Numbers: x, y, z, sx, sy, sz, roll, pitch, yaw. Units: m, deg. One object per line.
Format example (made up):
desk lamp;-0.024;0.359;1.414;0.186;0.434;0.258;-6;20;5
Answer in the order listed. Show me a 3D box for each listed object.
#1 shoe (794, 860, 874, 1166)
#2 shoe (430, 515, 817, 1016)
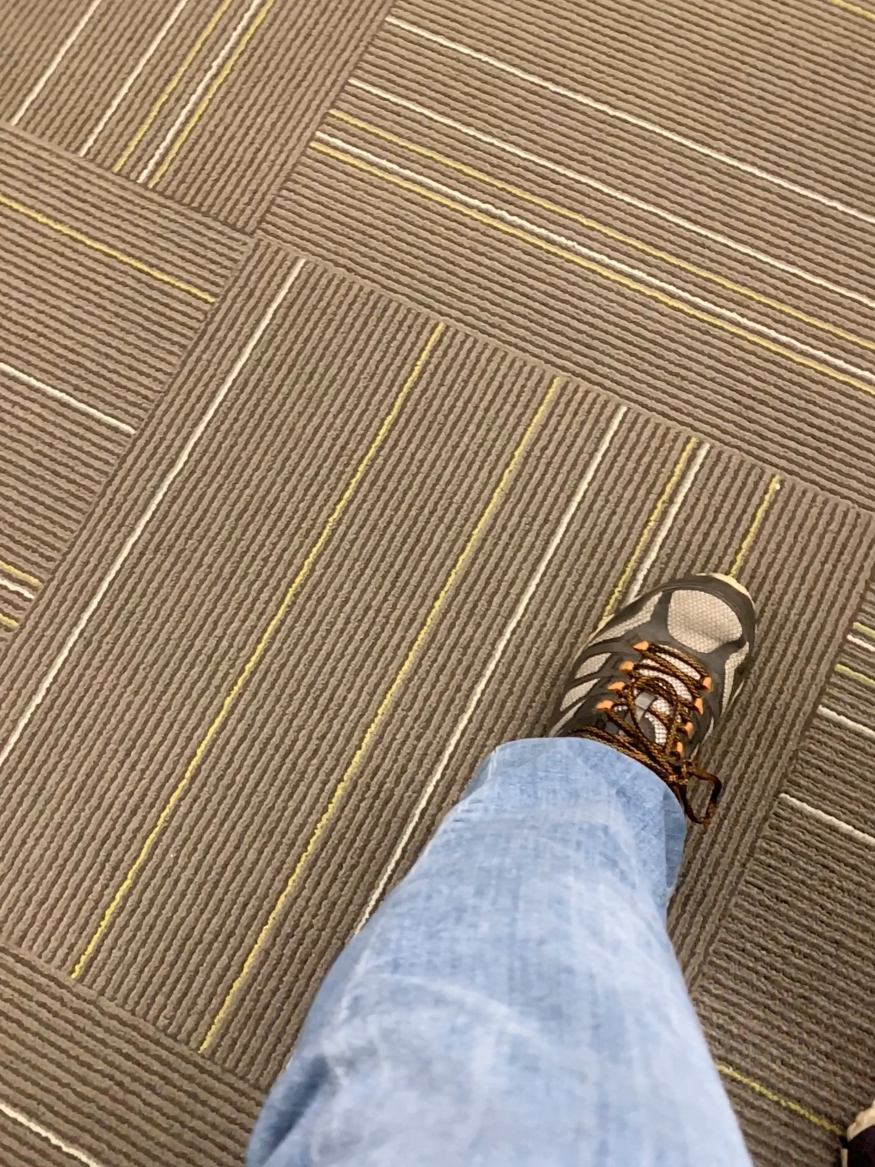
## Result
shoe;0.424;0.348;0.614;0.322;0.095;0.122;-38;80;-6
shoe;0.134;0.127;0.667;0.125;0.095;0.323;31;81;7
